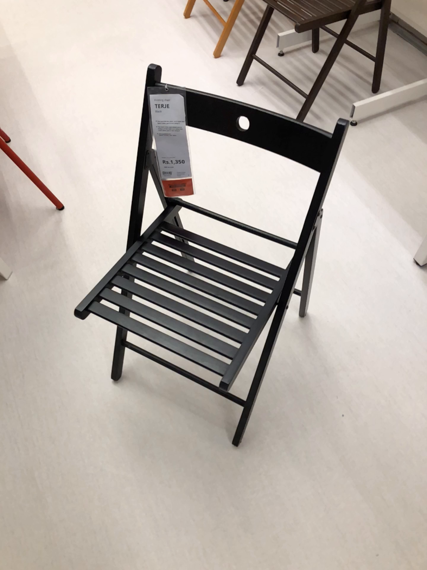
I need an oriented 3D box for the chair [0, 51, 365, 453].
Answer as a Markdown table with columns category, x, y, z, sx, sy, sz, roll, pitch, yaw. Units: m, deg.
| category | x | y | z | sx | sy | sz | roll | pitch | yaw |
| --- | --- | --- | --- | --- | --- | --- | --- | --- | --- |
| chair | -0.021 | -0.021 | 1.096 | 0.441 | 0.726 | 0.482 | 23 | 61 | 17 |
